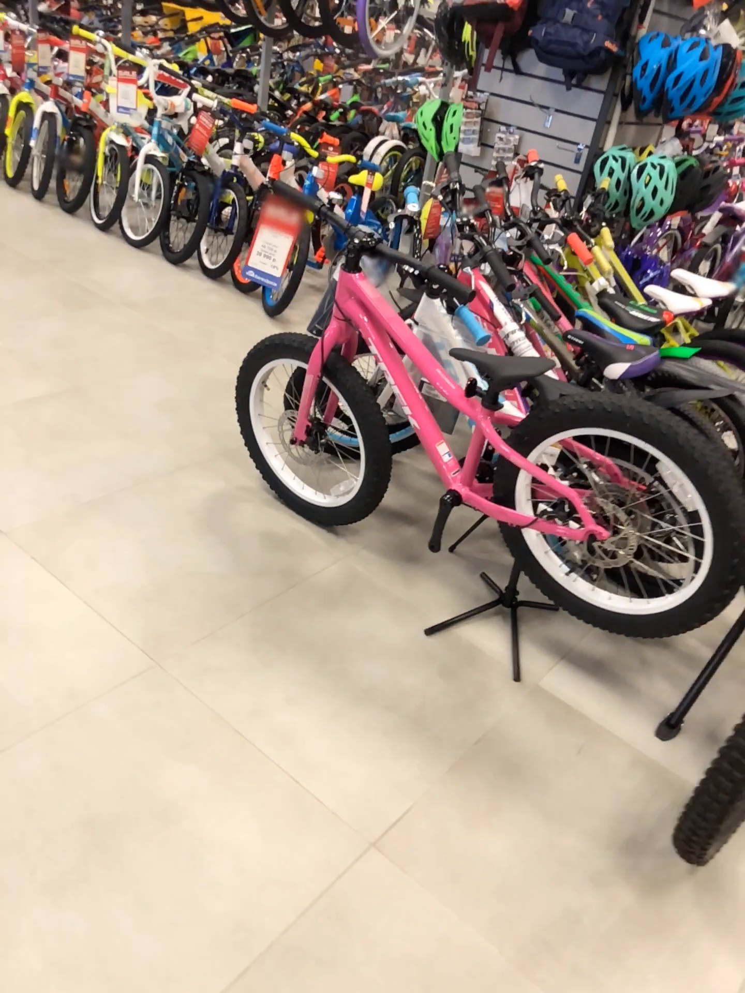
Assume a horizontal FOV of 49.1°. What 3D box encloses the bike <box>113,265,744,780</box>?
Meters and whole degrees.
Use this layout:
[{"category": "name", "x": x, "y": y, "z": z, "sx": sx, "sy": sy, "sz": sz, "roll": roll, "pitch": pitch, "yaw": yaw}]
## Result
[{"category": "bike", "x": 0.089, "y": -0.069, "z": 1.807, "sx": 1.335, "sy": 0.669, "sz": 0.573, "roll": 23, "pitch": 31, "yaw": 34}]
